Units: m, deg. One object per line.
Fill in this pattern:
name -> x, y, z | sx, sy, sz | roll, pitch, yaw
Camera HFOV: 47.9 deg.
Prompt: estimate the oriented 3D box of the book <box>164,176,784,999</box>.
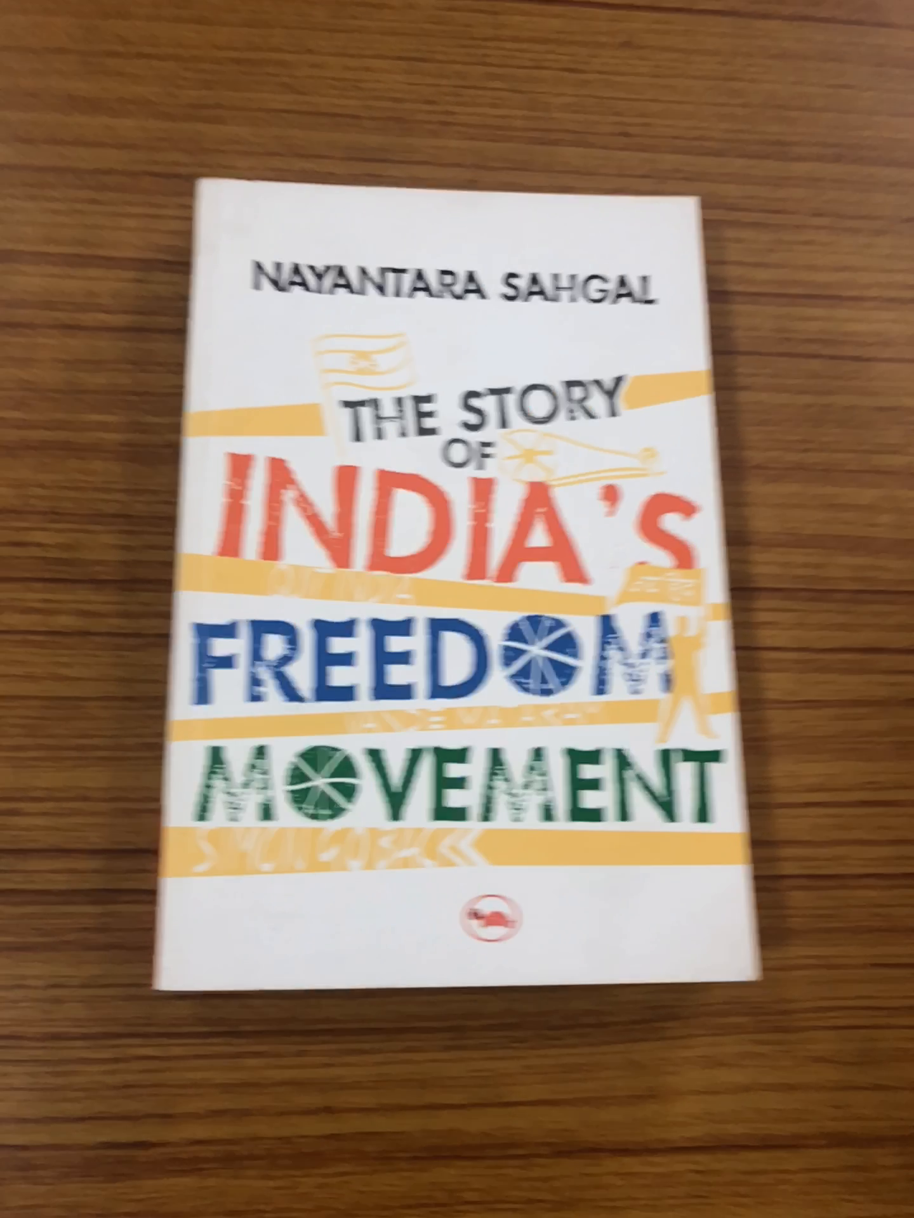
book -> 0.003, -0.009, 0.250 | 0.130, 0.030, 0.190 | 0, 77, -4
